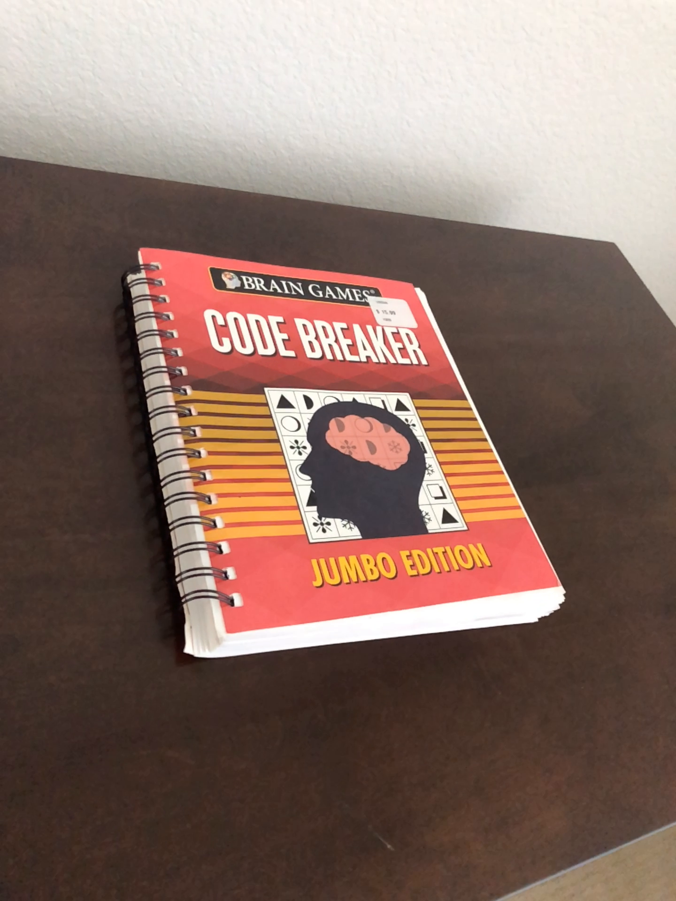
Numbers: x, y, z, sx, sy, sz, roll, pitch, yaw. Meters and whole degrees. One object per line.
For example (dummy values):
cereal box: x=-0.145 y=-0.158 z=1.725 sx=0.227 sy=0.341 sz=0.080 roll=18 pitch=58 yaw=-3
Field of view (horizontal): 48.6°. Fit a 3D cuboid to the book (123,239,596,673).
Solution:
book: x=0.005 y=-0.011 z=0.397 sx=0.203 sy=0.030 sz=0.224 roll=0 pitch=55 yaw=-29
